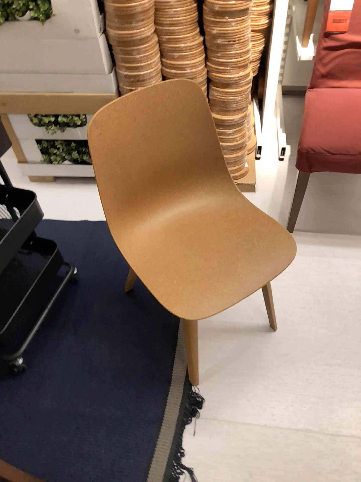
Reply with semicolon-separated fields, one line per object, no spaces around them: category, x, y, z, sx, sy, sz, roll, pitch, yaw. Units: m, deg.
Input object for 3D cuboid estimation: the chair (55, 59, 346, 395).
chair;0.037;-0.015;1.210;0.441;0.746;0.552;-29;54;-18
